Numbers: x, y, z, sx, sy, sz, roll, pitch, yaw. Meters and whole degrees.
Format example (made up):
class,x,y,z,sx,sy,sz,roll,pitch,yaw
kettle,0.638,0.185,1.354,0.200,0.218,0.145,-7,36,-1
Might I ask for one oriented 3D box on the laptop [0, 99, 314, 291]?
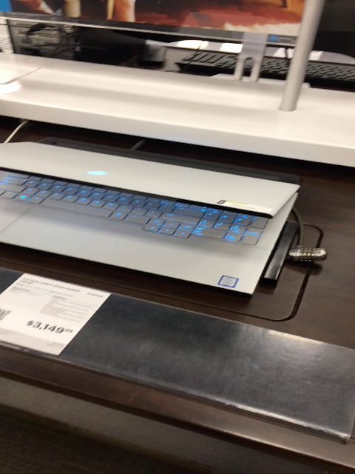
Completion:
class,x,y,z,sx,sy,sz,roll,pitch,yaw
laptop,-0.078,-0.075,0.606,0.426,0.101,0.222,12,39,16
